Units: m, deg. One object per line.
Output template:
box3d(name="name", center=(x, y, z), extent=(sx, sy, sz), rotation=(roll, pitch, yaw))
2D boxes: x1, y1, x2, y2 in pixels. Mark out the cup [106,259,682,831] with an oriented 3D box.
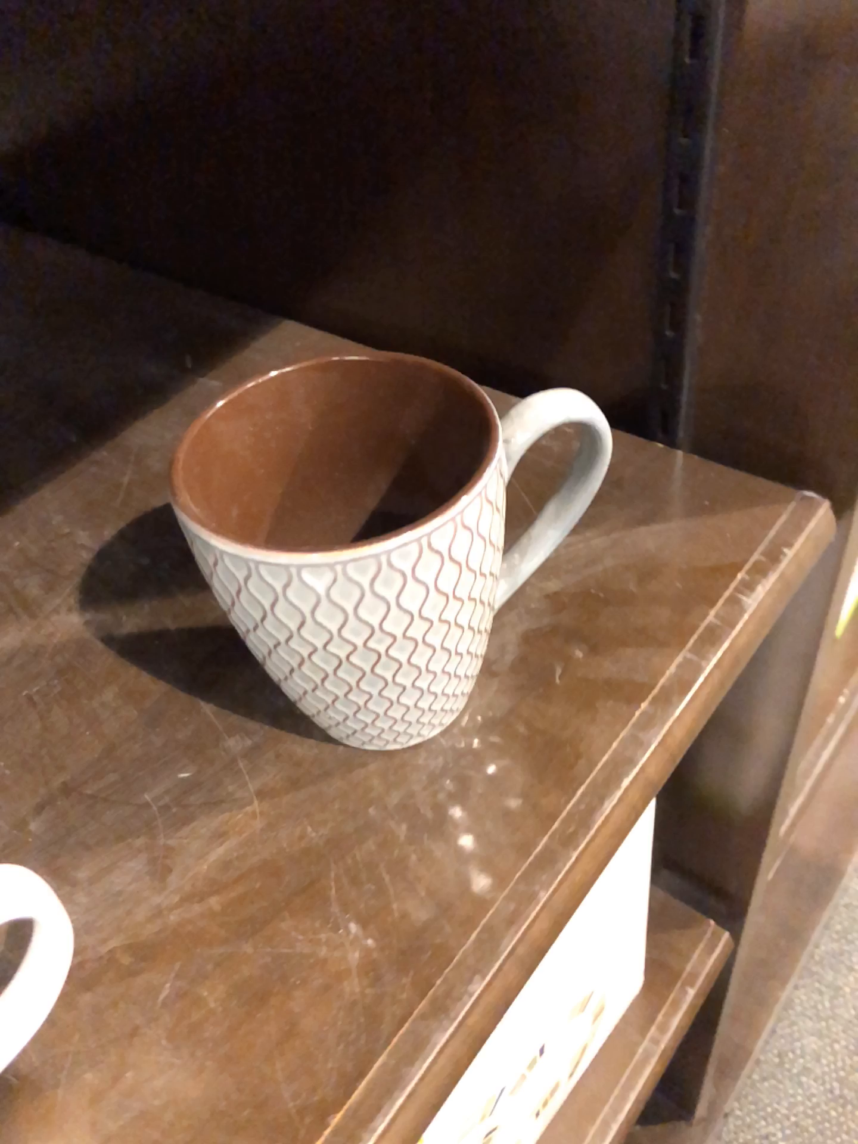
box3d(name="cup", center=(-0.006, -0.012, 0.296), extent=(0.132, 0.098, 0.085), rotation=(-31, 53, -21))
